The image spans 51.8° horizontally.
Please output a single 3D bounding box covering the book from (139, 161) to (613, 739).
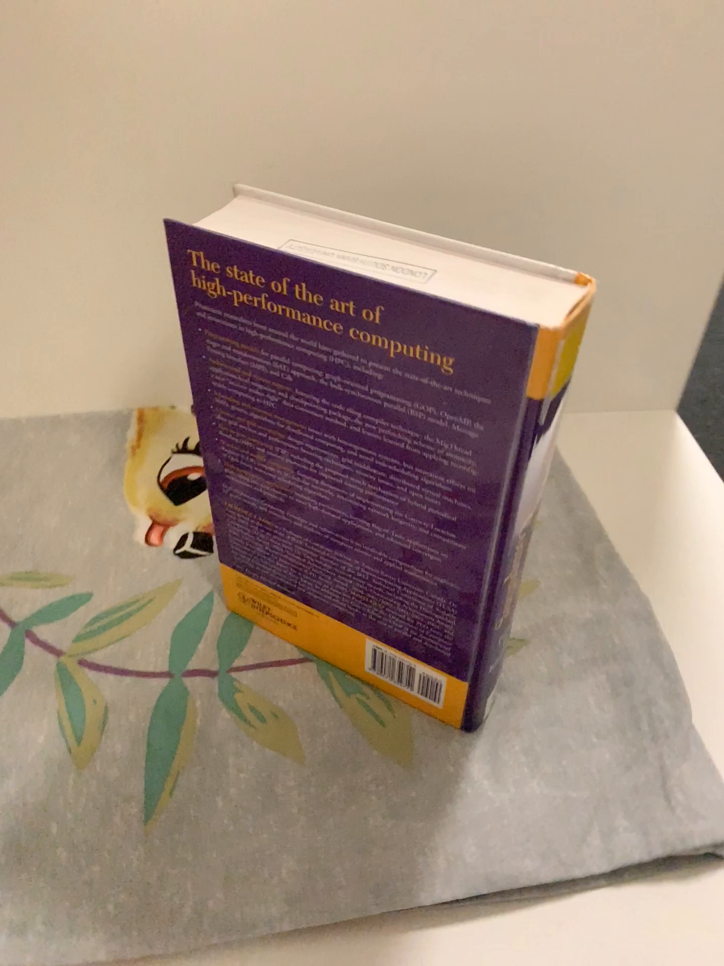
[{"bbox_3d":[-0.001,-0.002,0.349,0.168,0.242,0.049,22,47,22],"label":"book"}]
